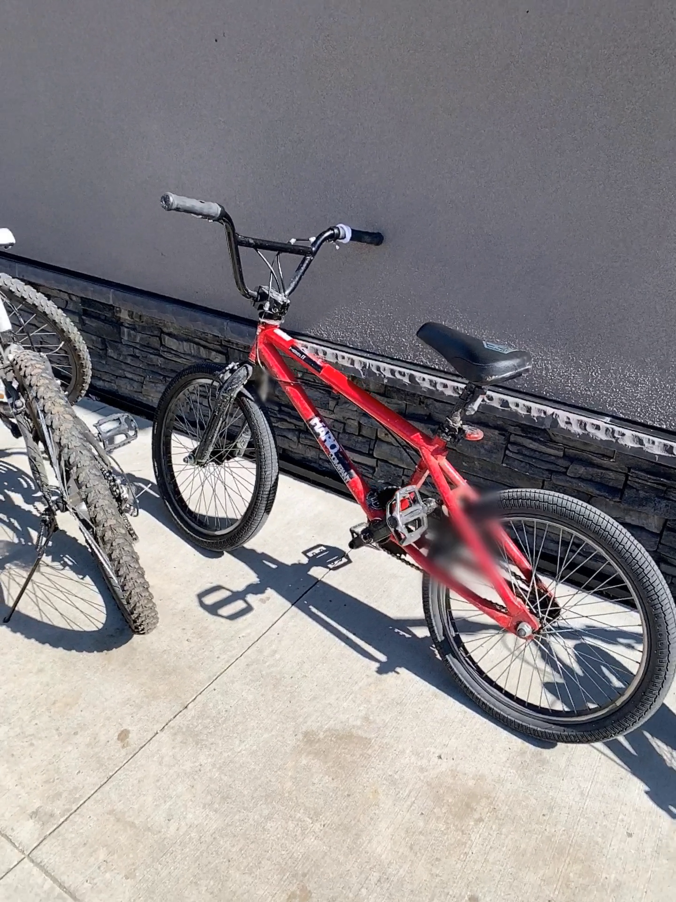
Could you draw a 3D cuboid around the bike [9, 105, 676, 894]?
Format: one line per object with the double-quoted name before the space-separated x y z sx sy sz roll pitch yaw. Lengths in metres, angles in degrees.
"bike" 0.094 -0.107 1.481 1.313 0.908 0.776 26 34 30
